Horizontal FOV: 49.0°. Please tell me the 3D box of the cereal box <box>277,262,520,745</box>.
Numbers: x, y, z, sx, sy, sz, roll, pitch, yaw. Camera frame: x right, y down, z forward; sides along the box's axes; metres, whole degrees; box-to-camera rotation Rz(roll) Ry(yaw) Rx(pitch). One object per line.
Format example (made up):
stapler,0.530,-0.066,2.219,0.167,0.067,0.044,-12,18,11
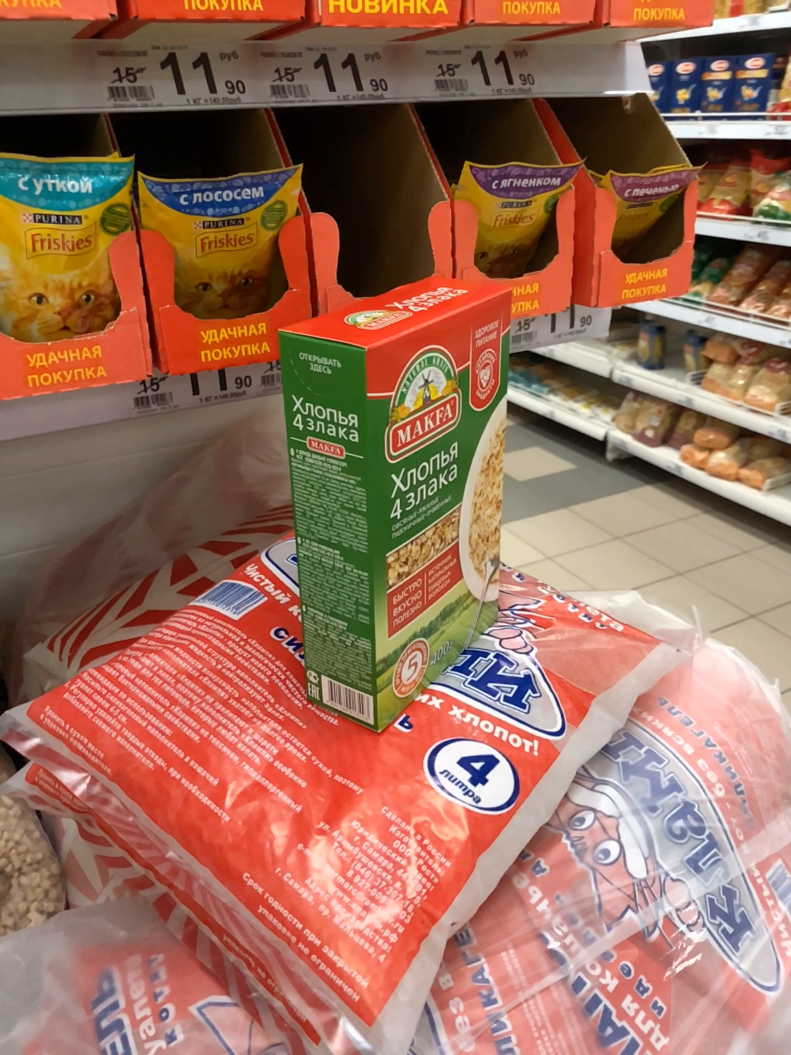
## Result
cereal box,0.007,-0.018,0.468,0.050,0.219,0.141,16,30,29
